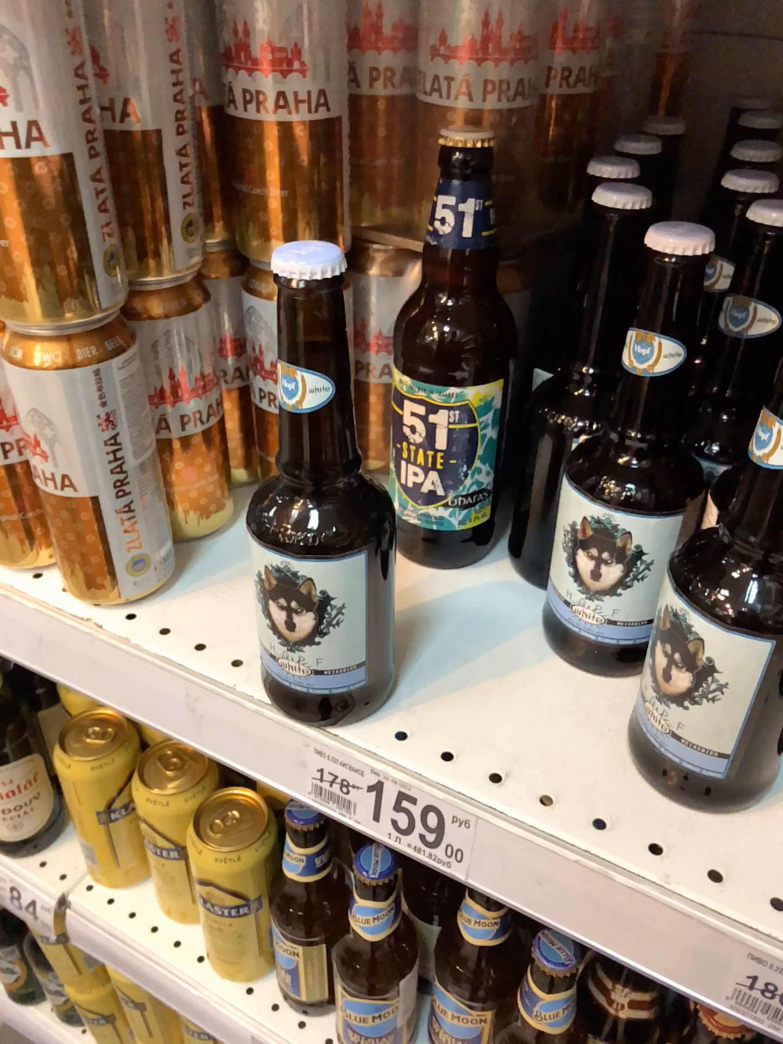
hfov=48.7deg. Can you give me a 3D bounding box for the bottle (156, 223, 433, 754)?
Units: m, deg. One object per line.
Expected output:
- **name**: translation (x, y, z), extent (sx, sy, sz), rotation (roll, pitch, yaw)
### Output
- **bottle**: translation (-0.037, -0.009, 0.388), extent (0.080, 0.219, 0.070), rotation (15, 36, 19)
